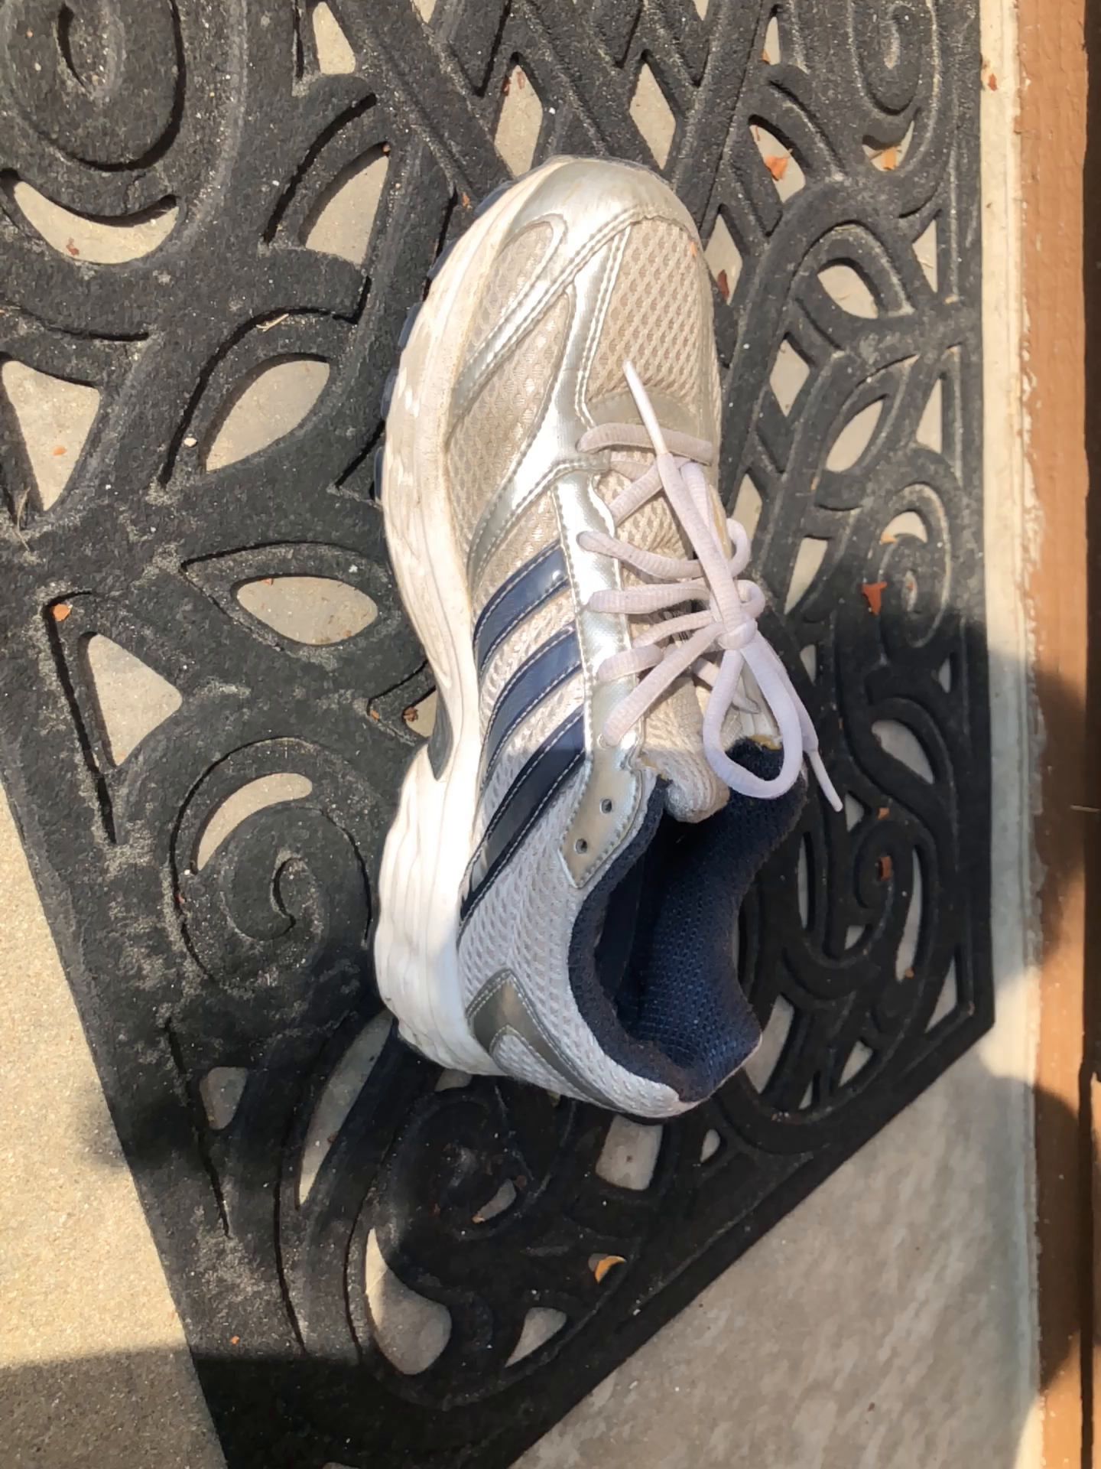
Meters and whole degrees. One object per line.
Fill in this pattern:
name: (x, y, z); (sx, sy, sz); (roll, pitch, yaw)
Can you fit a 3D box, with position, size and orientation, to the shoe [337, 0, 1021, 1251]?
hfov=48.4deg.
shoe: (0.025, -0.026, 0.332); (0.100, 0.129, 0.260); (-5, 103, -42)
